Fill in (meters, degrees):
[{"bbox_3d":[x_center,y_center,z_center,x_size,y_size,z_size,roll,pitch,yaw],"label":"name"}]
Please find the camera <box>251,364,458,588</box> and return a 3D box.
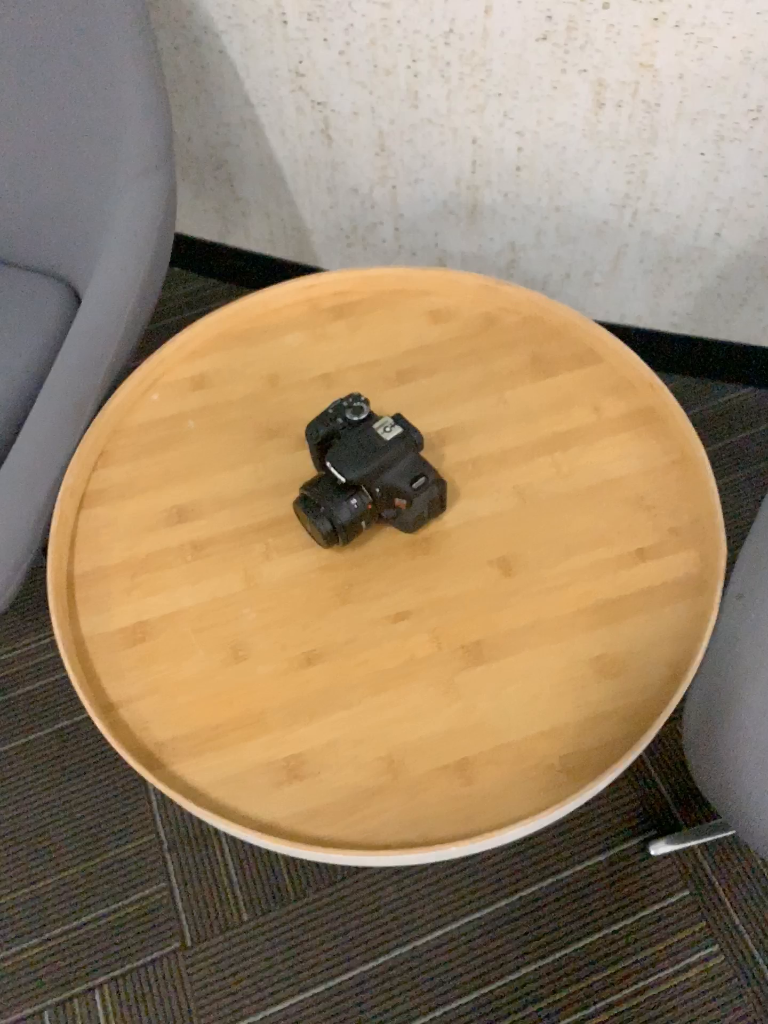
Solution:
[{"bbox_3d":[-0.024,-0.033,0.705,0.119,0.090,0.134,-36,65,-15],"label":"camera"}]
